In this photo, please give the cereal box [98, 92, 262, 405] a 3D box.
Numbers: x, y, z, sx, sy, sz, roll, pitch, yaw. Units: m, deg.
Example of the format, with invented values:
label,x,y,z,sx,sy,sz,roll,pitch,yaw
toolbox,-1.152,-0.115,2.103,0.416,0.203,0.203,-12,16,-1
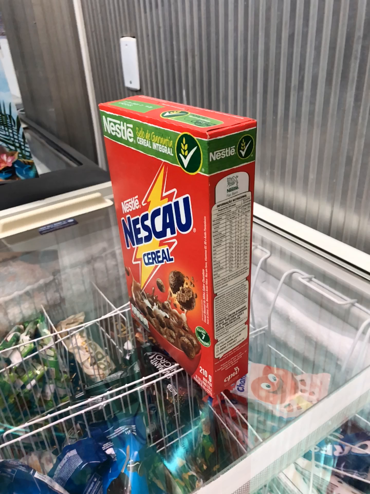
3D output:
label,x,y,z,sx,sy,sz,roll,pitch,yaw
cereal box,-0.007,-0.003,0.403,0.050,0.258,0.171,-21,33,-28
